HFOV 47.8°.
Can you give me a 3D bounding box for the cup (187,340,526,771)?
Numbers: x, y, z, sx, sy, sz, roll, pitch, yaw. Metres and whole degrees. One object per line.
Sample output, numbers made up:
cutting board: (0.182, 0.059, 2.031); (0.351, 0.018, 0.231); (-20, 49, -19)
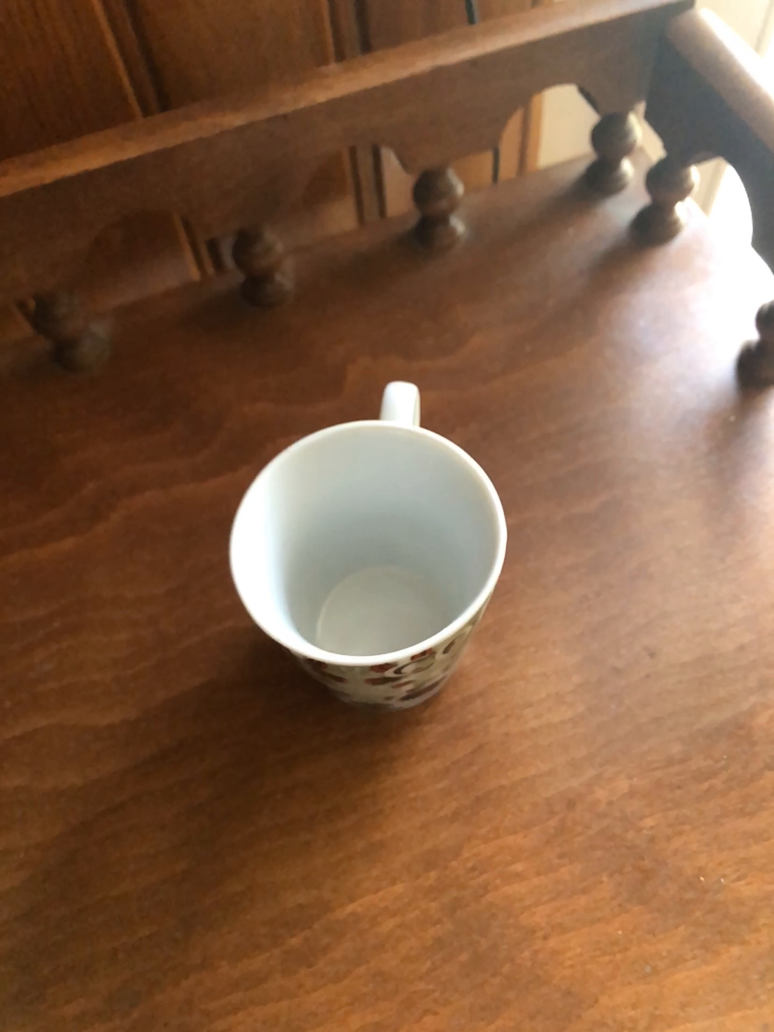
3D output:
cup: (-0.001, 0.010, 0.208); (0.060, 0.060, 0.080); (5, 62, 7)
